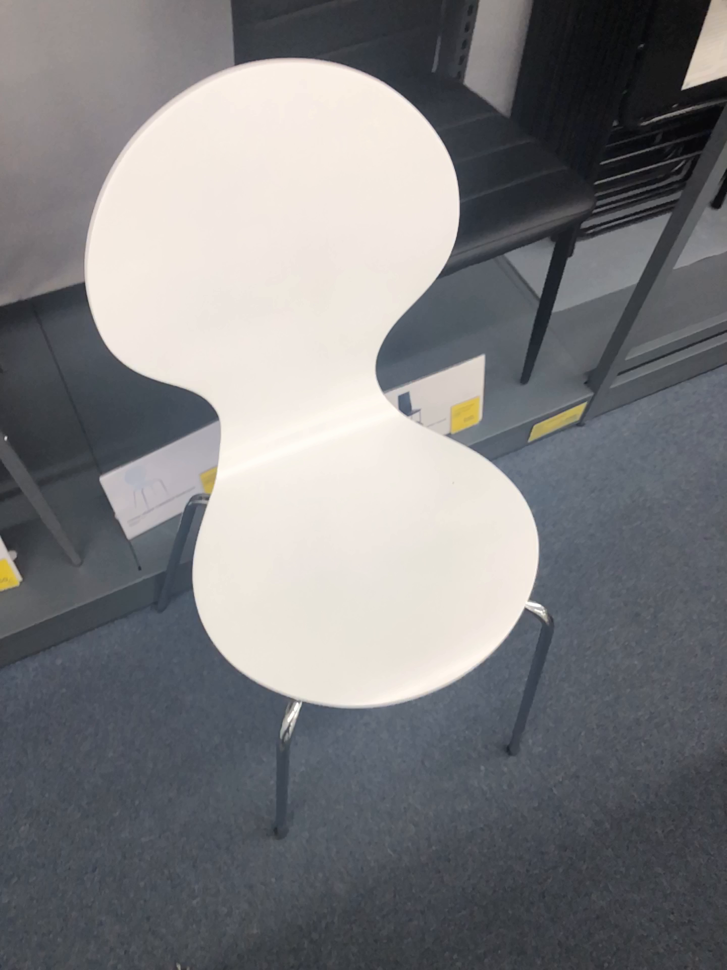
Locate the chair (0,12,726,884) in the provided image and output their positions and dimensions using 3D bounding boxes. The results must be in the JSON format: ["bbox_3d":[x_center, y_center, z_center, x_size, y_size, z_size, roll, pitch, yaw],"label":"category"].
[{"bbox_3d":[-0.027,0.056,0.993,0.560,0.898,0.541,-18,62,-15],"label":"chair"}]
